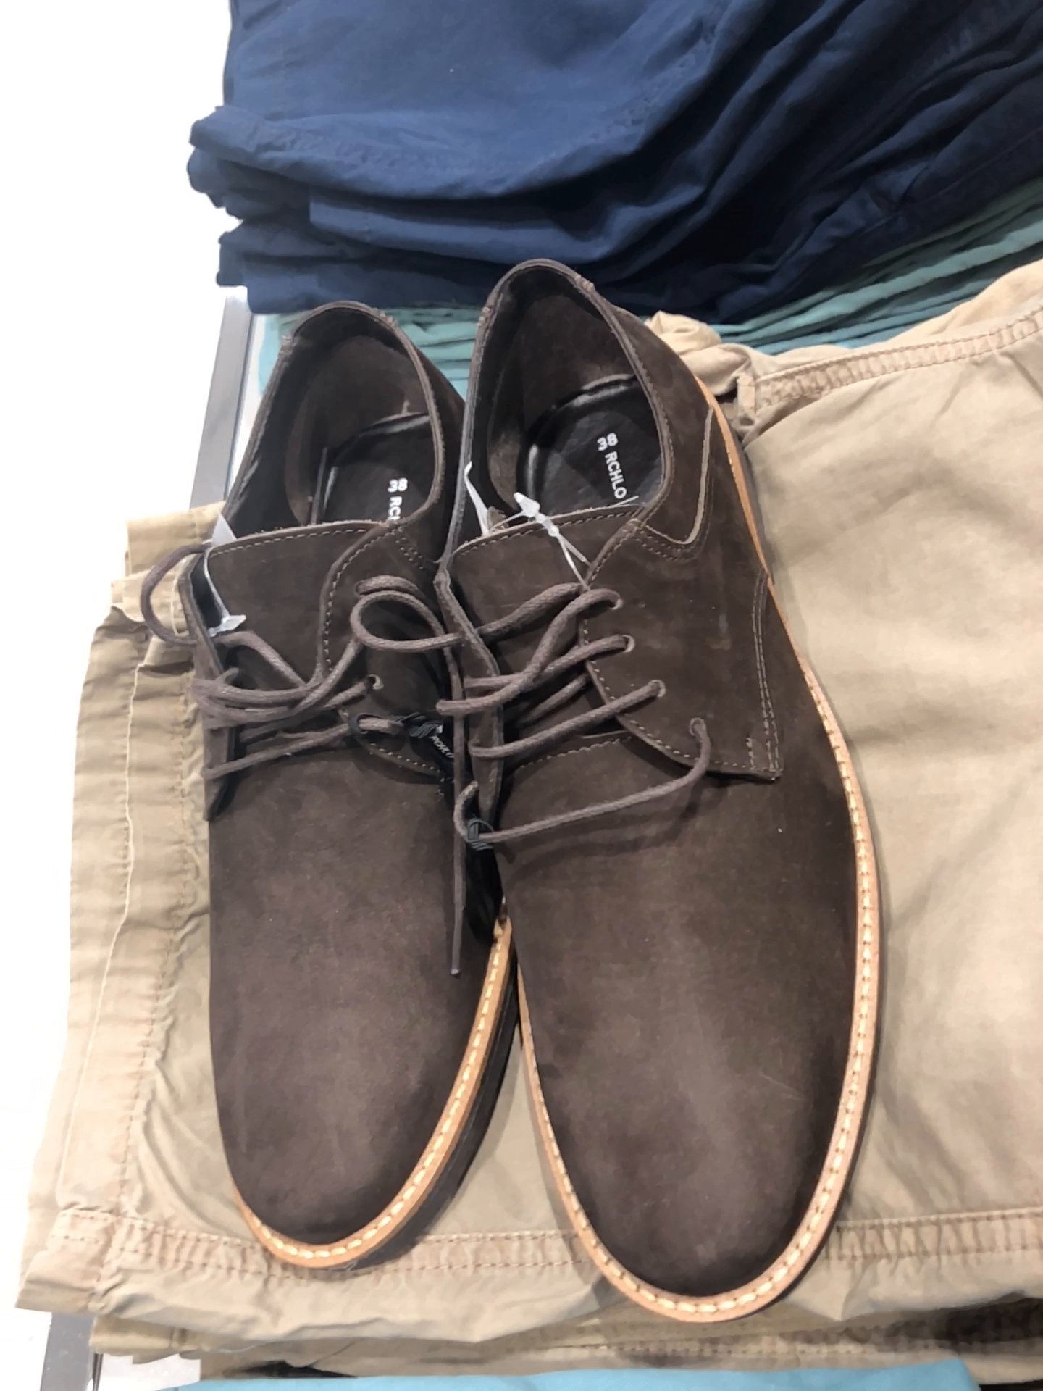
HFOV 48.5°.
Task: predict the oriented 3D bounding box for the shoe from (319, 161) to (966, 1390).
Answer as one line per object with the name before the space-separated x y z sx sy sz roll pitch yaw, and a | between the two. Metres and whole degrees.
shoe | 0.025 0.017 0.291 0.100 0.110 0.261 -14 62 20

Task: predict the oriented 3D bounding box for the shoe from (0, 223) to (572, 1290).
shoe | -0.057 0.016 0.335 0.110 0.110 0.261 -6 68 19
